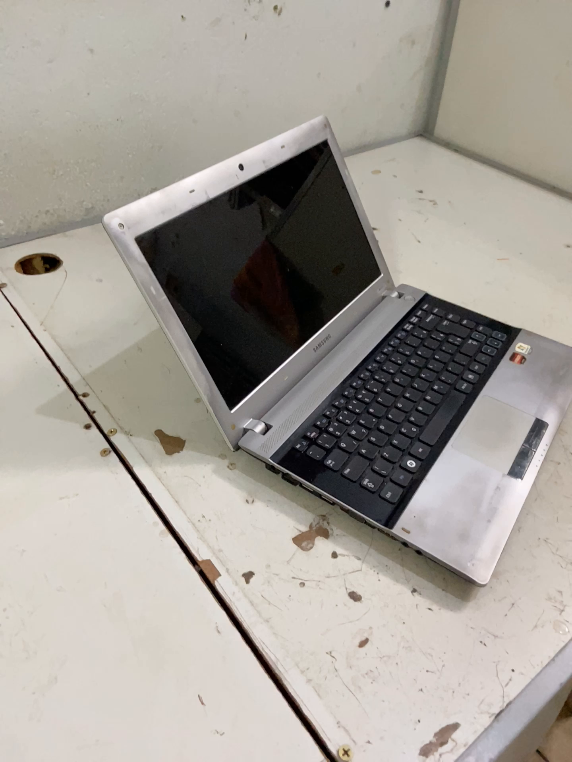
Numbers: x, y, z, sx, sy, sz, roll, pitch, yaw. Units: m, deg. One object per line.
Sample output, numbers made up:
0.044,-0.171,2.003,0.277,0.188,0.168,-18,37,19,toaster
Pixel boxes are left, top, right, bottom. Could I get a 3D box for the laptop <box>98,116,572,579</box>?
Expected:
0.095,-0.082,0.560,0.366,0.180,0.343,25,45,24,laptop
